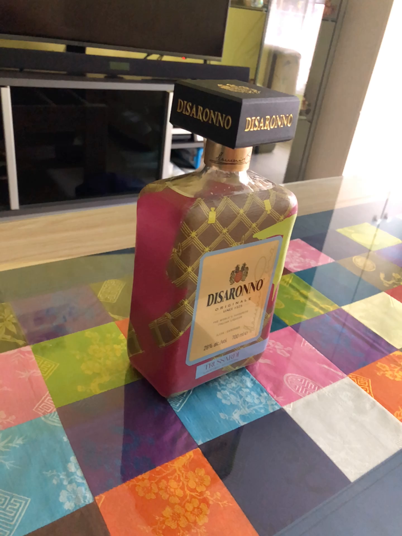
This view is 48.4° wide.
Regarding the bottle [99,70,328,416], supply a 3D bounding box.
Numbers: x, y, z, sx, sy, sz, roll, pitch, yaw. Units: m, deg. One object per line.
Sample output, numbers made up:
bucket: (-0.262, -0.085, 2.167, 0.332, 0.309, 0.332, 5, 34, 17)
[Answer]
bottle: (-0.003, -0.018, 0.342, 0.120, 0.229, 0.080, -14, 36, -34)
